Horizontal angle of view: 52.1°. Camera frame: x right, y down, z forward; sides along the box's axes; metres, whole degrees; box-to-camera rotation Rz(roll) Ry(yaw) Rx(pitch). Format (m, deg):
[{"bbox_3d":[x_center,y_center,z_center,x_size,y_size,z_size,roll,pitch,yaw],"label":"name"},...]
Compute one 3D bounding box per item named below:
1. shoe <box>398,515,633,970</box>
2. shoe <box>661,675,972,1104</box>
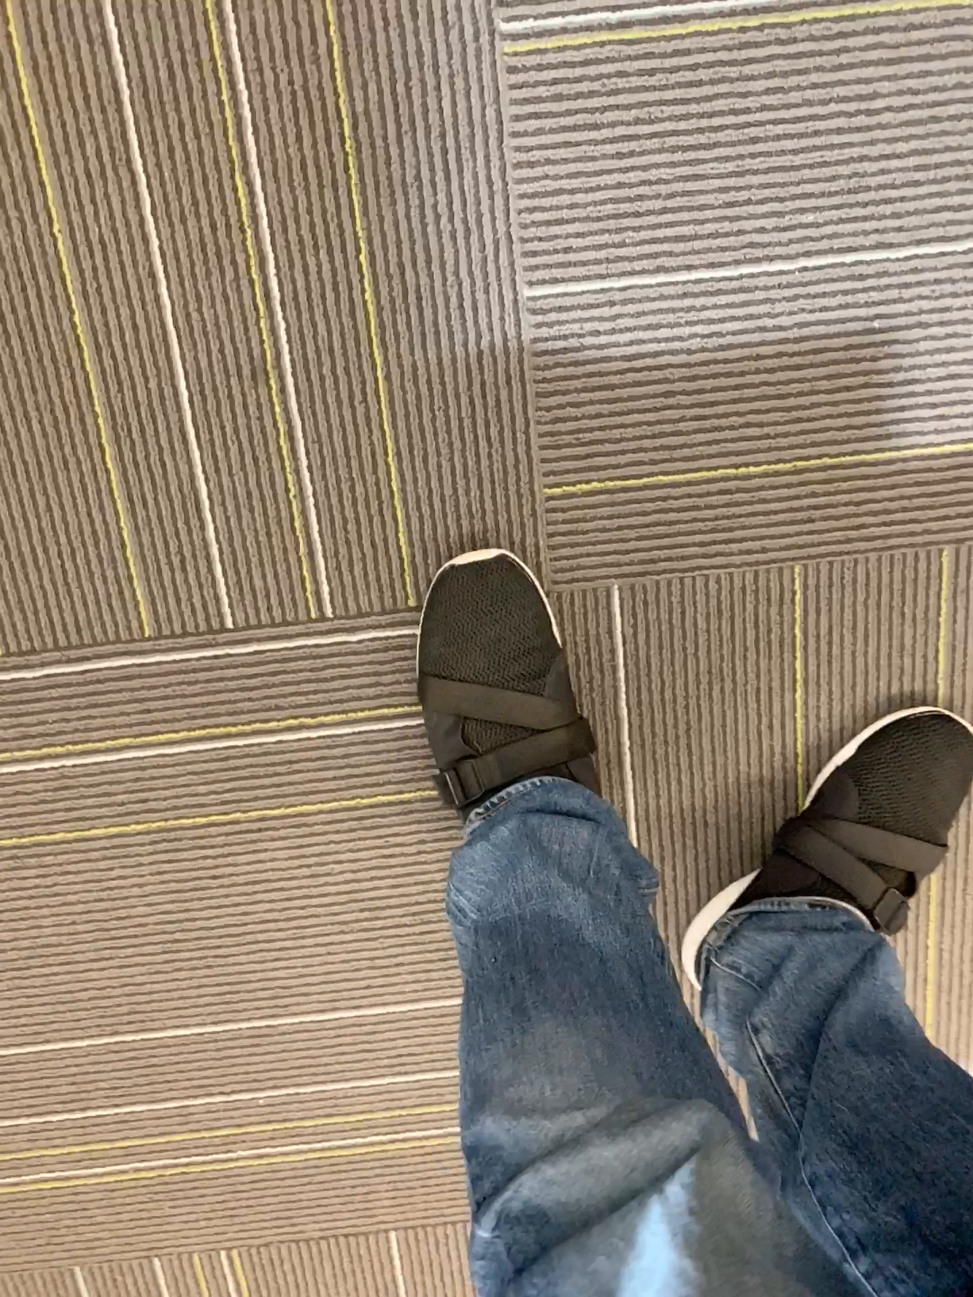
[{"bbox_3d":[0.023,0.068,0.740,0.120,0.120,0.301,-9,108,1],"label":"shoe"},{"bbox_3d":[0.289,0.185,0.771,0.120,0.110,0.301,36,103,-12],"label":"shoe"}]
